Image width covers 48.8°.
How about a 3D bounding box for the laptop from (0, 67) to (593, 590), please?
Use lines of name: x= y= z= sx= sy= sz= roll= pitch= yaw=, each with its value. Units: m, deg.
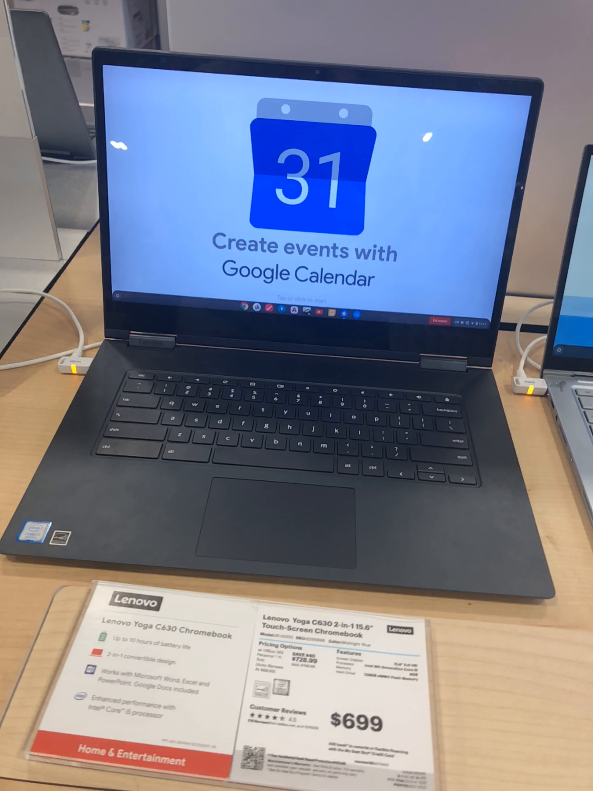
laptop: x=0.005 y=-0.067 z=0.454 sx=0.343 sy=0.230 sz=0.293 roll=4 pitch=38 yaw=2
